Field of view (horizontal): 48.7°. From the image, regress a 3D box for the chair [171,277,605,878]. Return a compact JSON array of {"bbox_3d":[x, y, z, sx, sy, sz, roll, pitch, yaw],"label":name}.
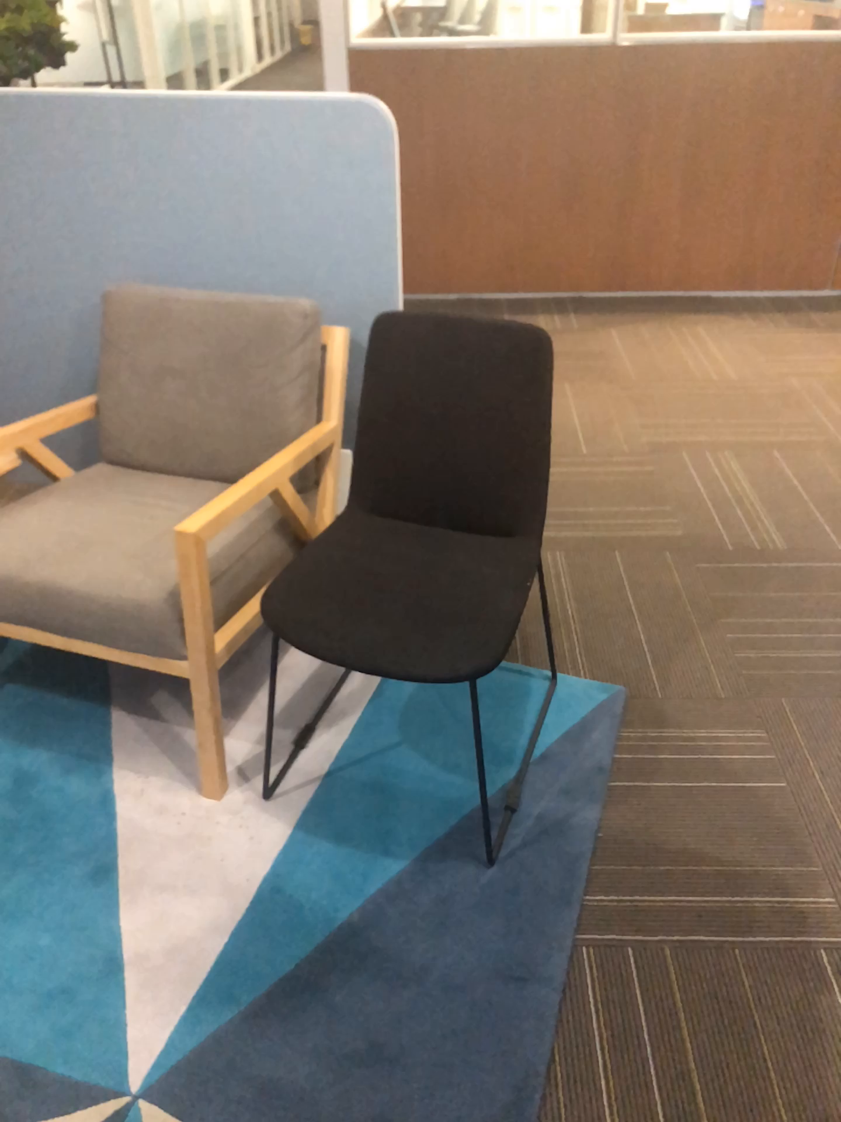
[{"bbox_3d":[-0.001,-0.009,1.764,0.500,0.823,0.686,11,34,18],"label":"chair"}]
